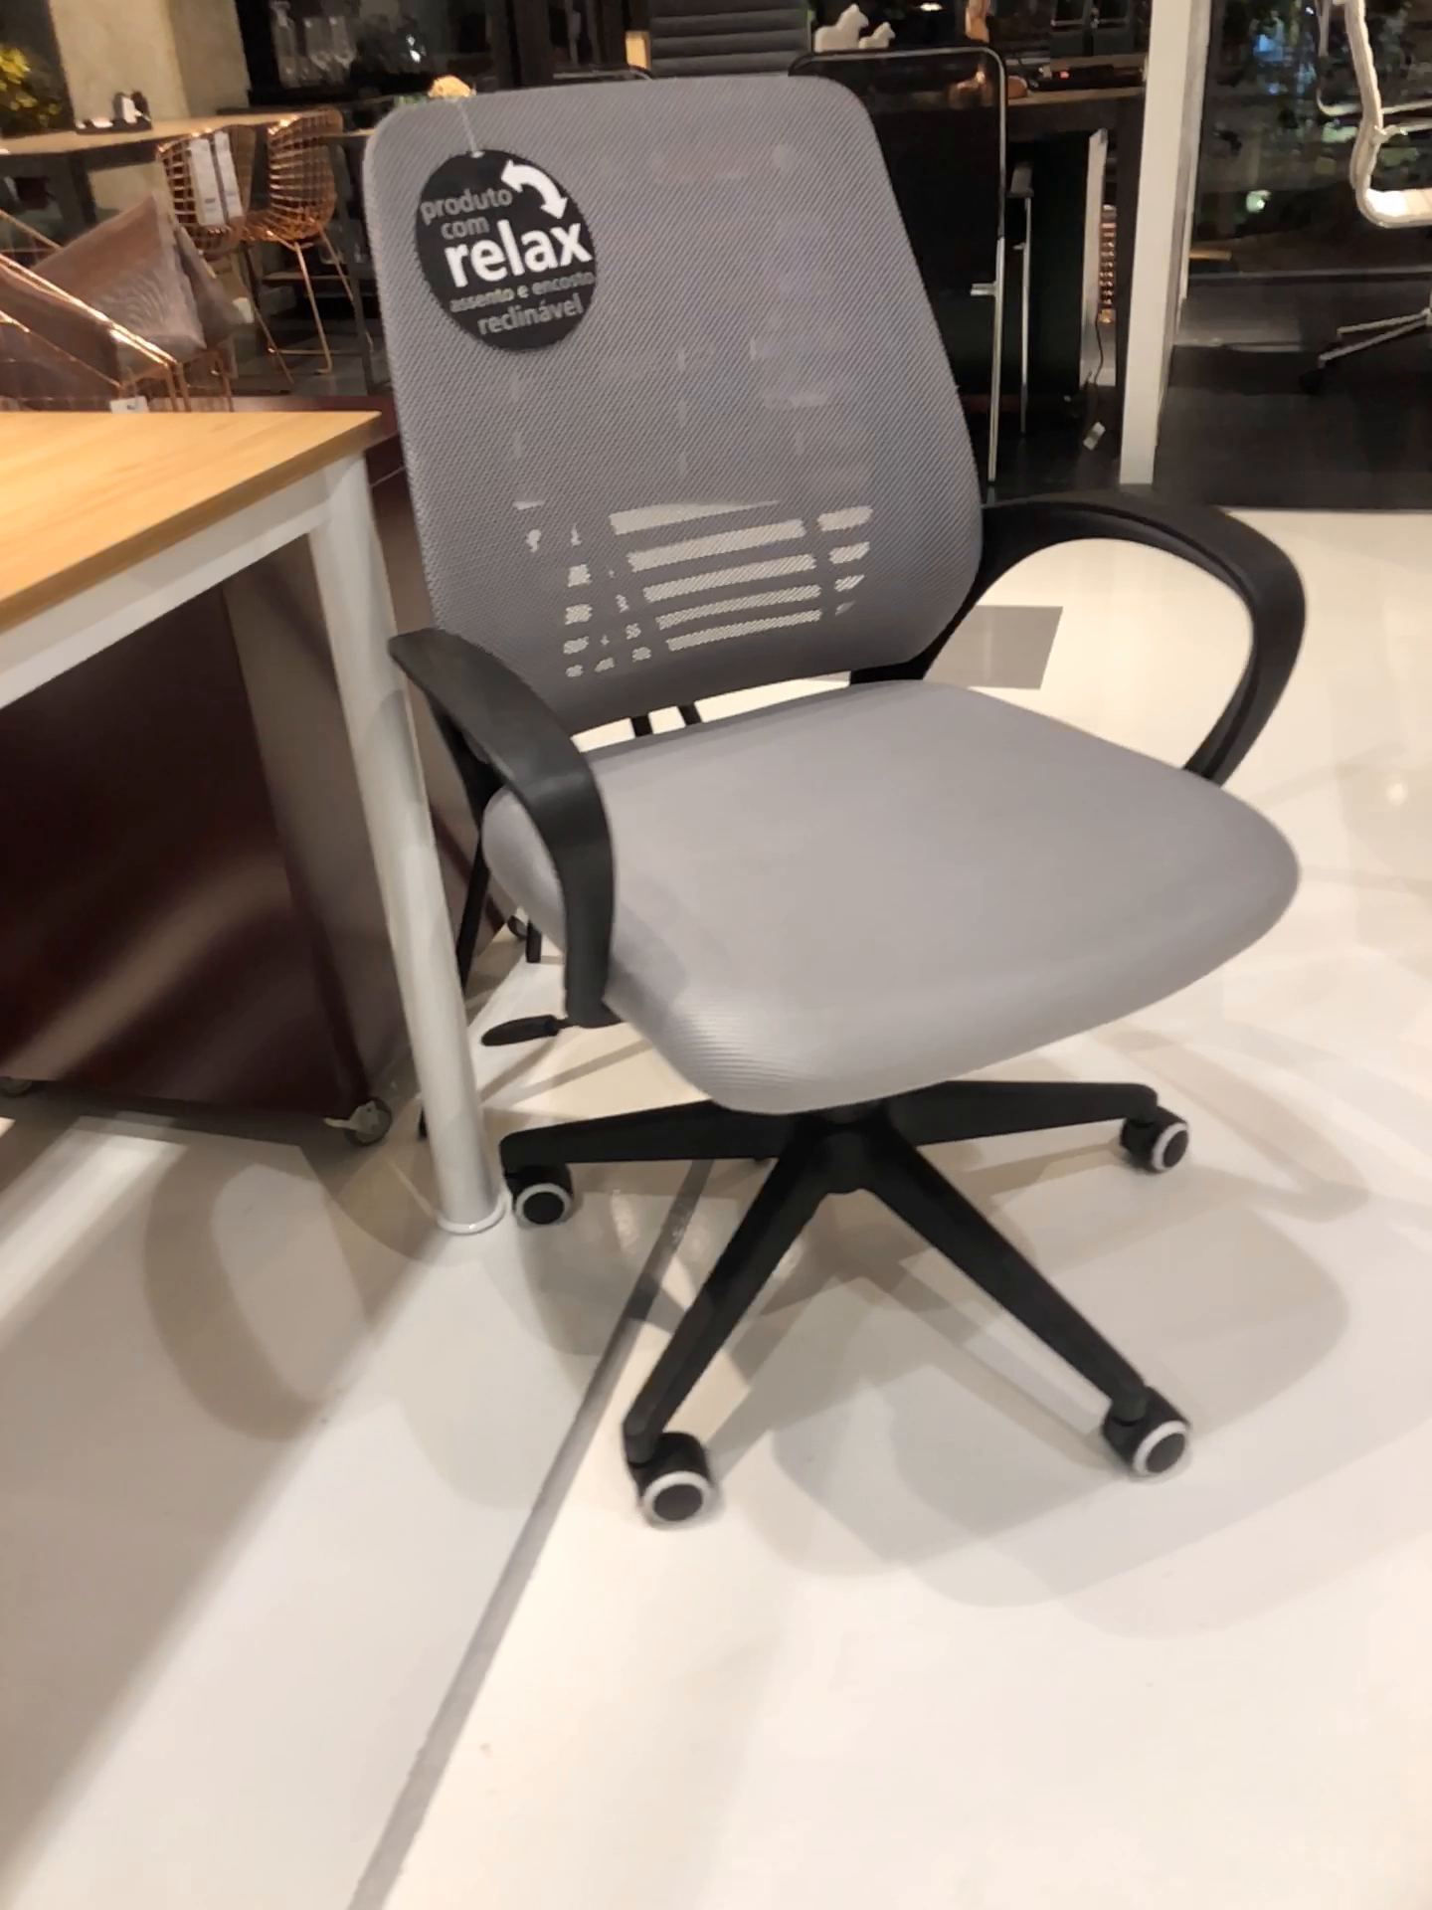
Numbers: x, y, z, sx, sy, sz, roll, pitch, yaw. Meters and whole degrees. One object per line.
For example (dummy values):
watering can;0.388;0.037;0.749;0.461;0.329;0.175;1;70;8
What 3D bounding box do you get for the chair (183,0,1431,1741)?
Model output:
chair;0.119;-0.137;1.095;0.661;0.853;0.664;-17;33;-21
